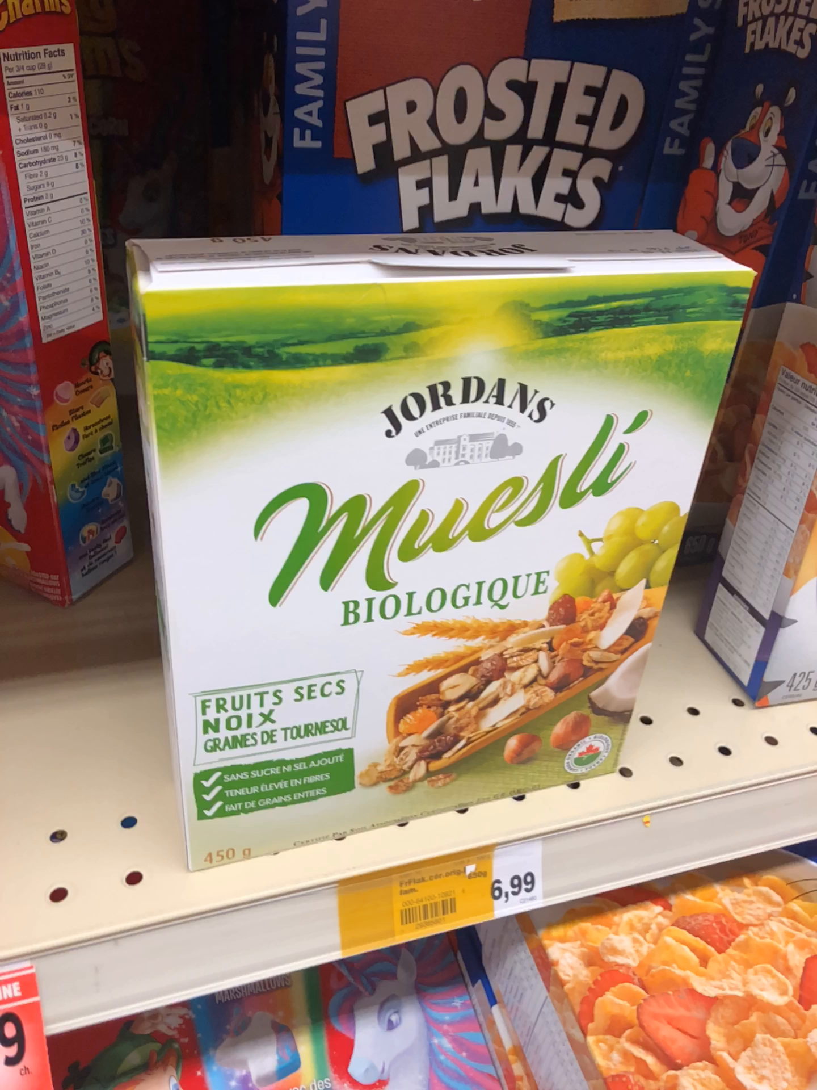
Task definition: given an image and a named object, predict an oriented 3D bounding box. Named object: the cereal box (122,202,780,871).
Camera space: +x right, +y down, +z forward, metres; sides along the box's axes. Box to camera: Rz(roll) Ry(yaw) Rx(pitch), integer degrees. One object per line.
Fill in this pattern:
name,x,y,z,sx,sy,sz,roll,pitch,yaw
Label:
cereal box,0.007,0.001,0.314,0.180,0.218,0.050,-7,35,-19
